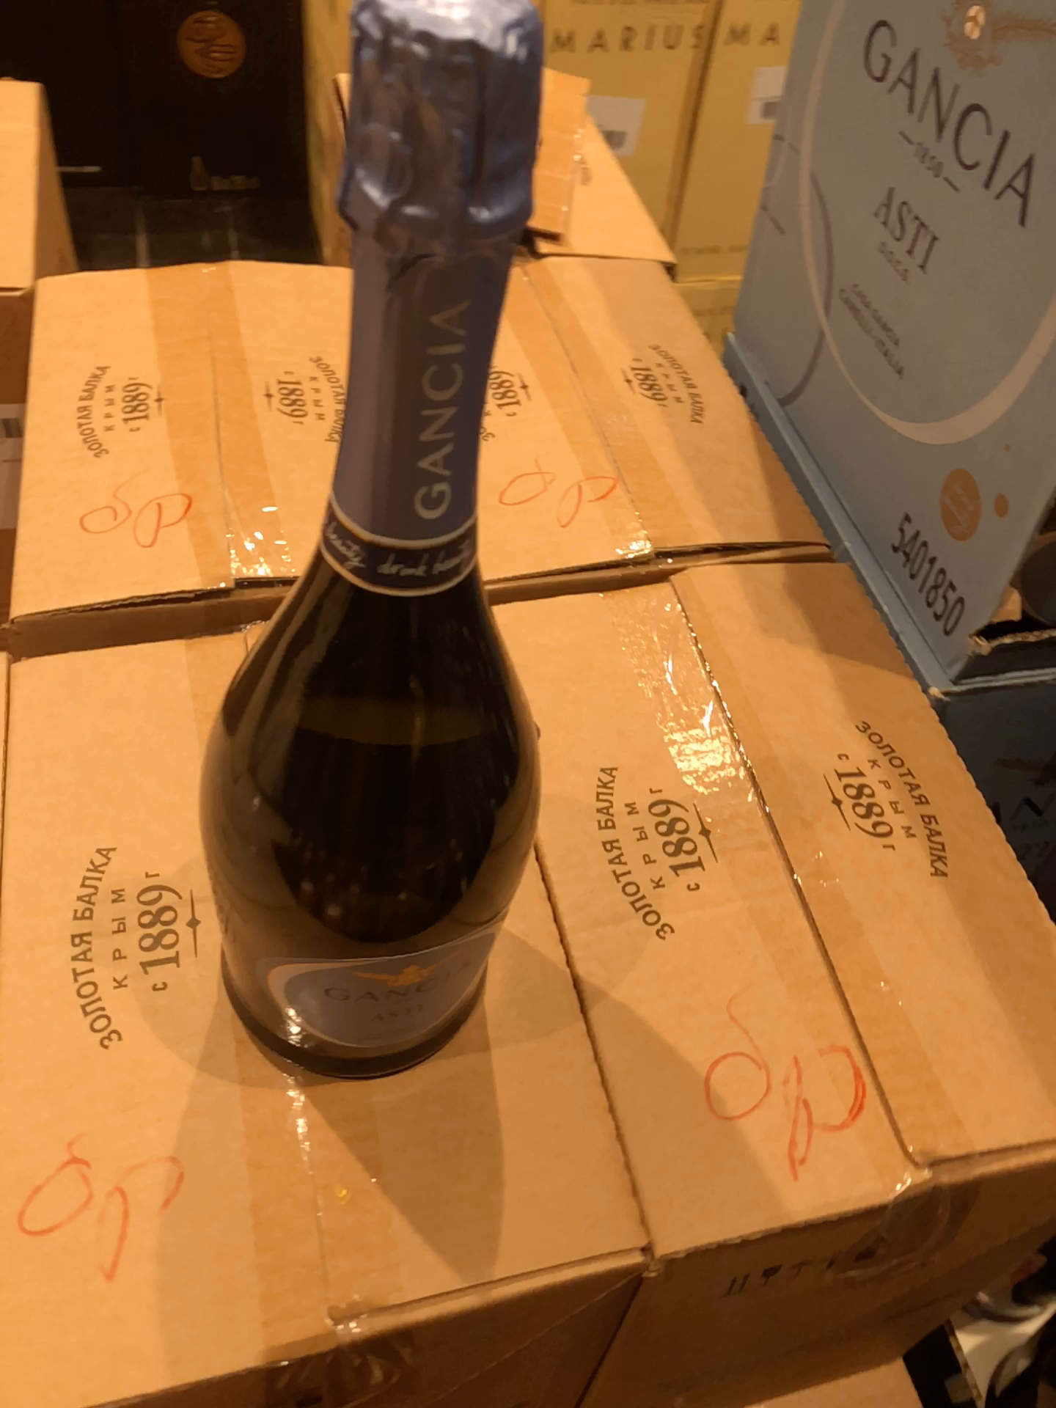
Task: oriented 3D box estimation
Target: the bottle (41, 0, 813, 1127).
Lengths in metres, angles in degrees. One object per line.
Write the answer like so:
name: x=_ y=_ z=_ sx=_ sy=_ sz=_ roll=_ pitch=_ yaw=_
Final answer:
bottle: x=-0.036 y=-0.009 z=0.291 sx=0.101 sy=0.298 sz=0.090 roll=-9 pitch=50 yaw=-16
